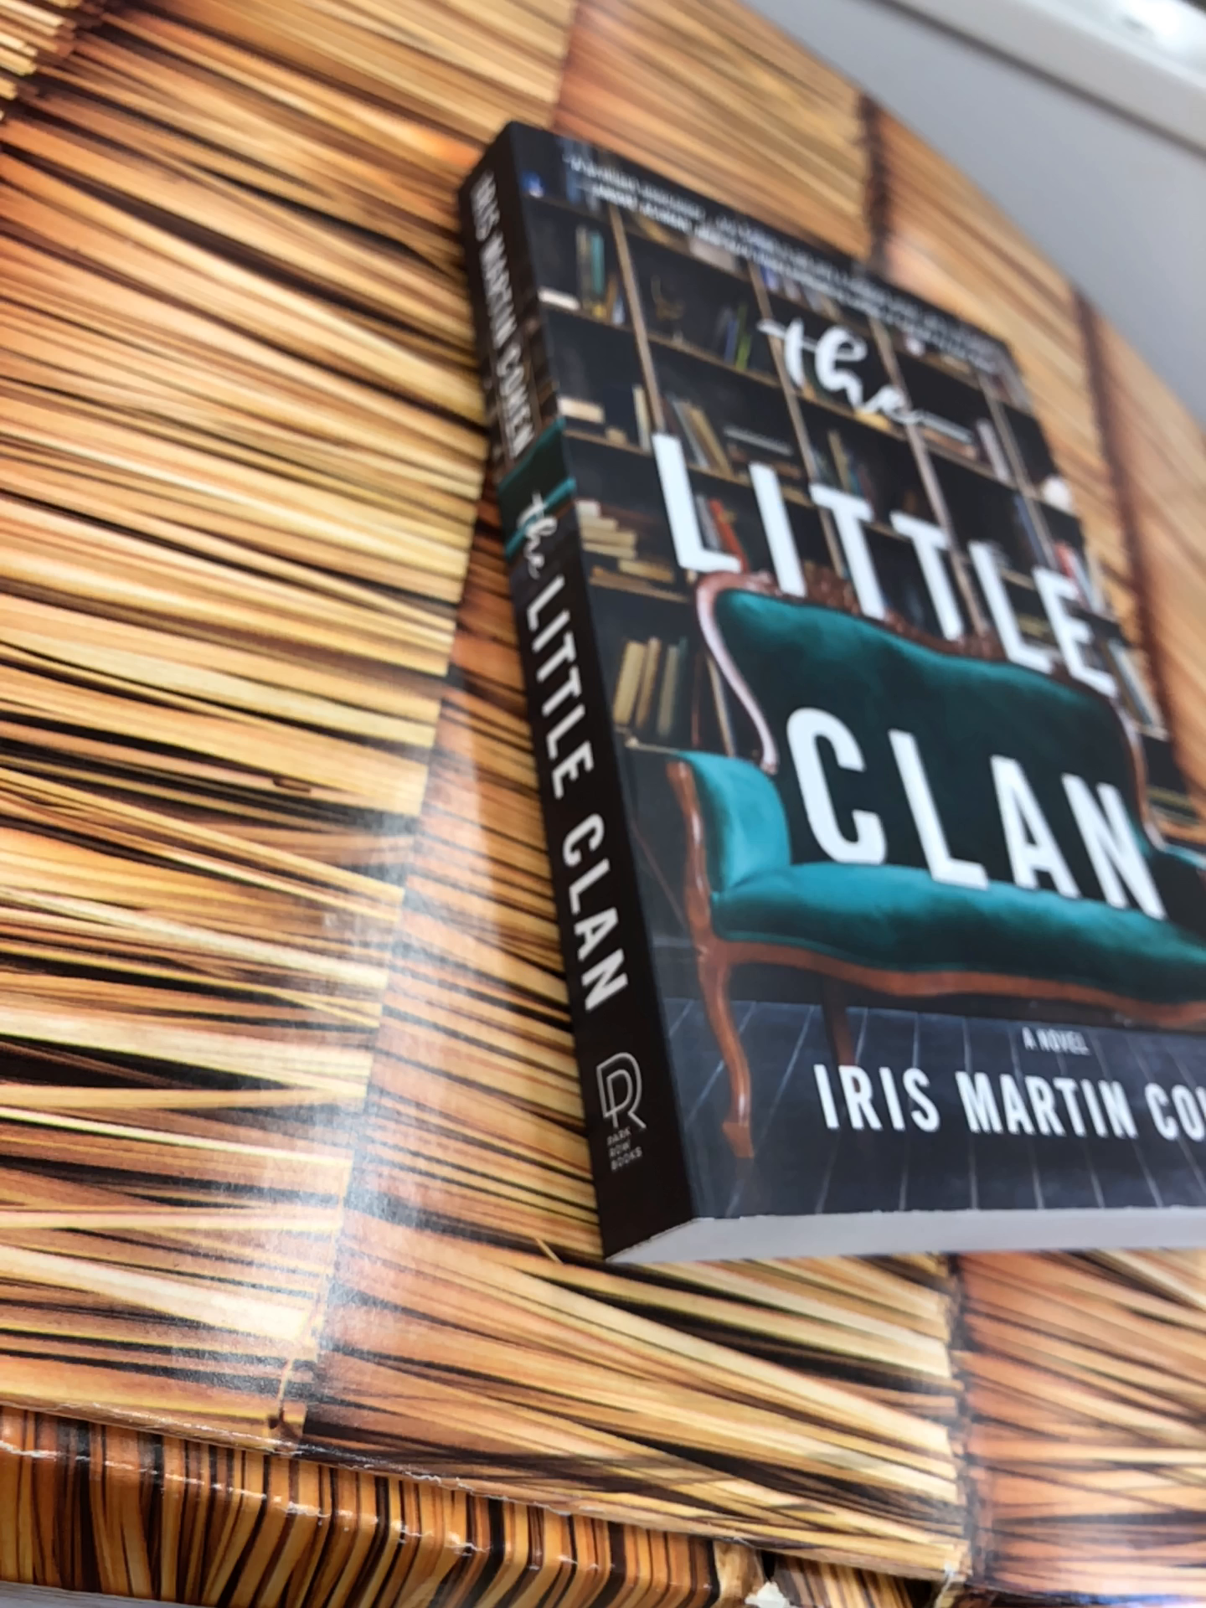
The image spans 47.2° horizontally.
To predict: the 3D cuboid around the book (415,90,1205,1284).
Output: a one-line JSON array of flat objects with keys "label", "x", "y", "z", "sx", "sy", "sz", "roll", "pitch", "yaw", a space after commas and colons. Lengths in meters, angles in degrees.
[{"label": "book", "x": 0.042, "y": -0.023, "z": 0.227, "sx": 0.130, "sy": 0.030, "sz": 0.190, "roll": 10, "pitch": 53, "yaw": -29}]
